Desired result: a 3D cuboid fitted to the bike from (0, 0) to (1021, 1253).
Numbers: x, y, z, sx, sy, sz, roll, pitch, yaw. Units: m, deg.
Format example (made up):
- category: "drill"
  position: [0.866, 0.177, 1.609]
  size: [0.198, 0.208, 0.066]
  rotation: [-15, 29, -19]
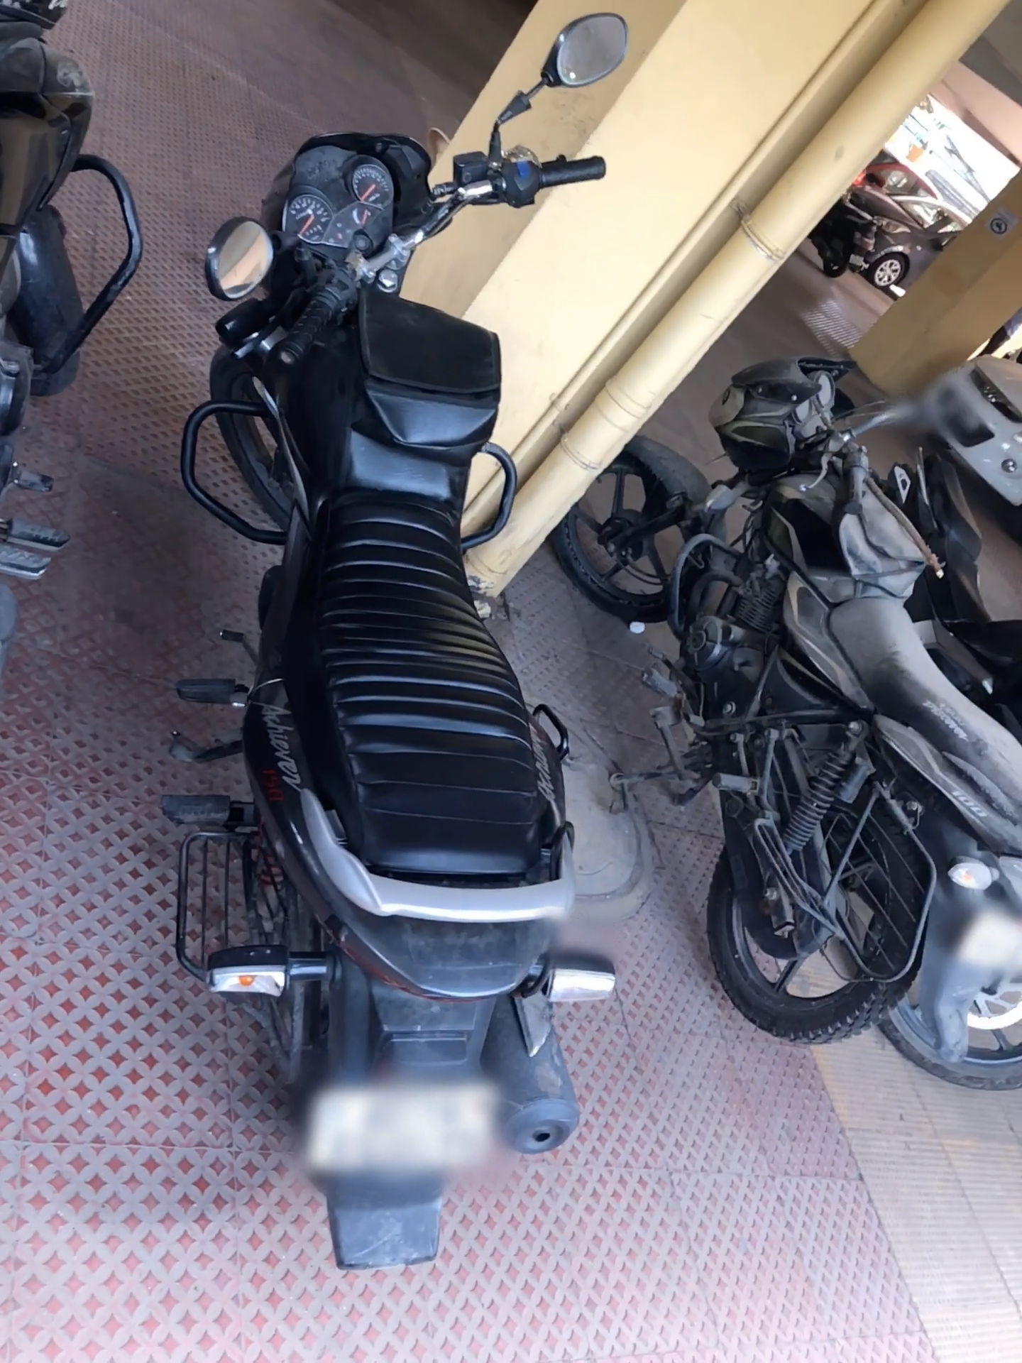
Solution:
- category: "bike"
  position: [-0.343, -0.282, 1.696]
  size: [0.732, 1.126, 1.765]
  rotation: [17, 39, -37]
